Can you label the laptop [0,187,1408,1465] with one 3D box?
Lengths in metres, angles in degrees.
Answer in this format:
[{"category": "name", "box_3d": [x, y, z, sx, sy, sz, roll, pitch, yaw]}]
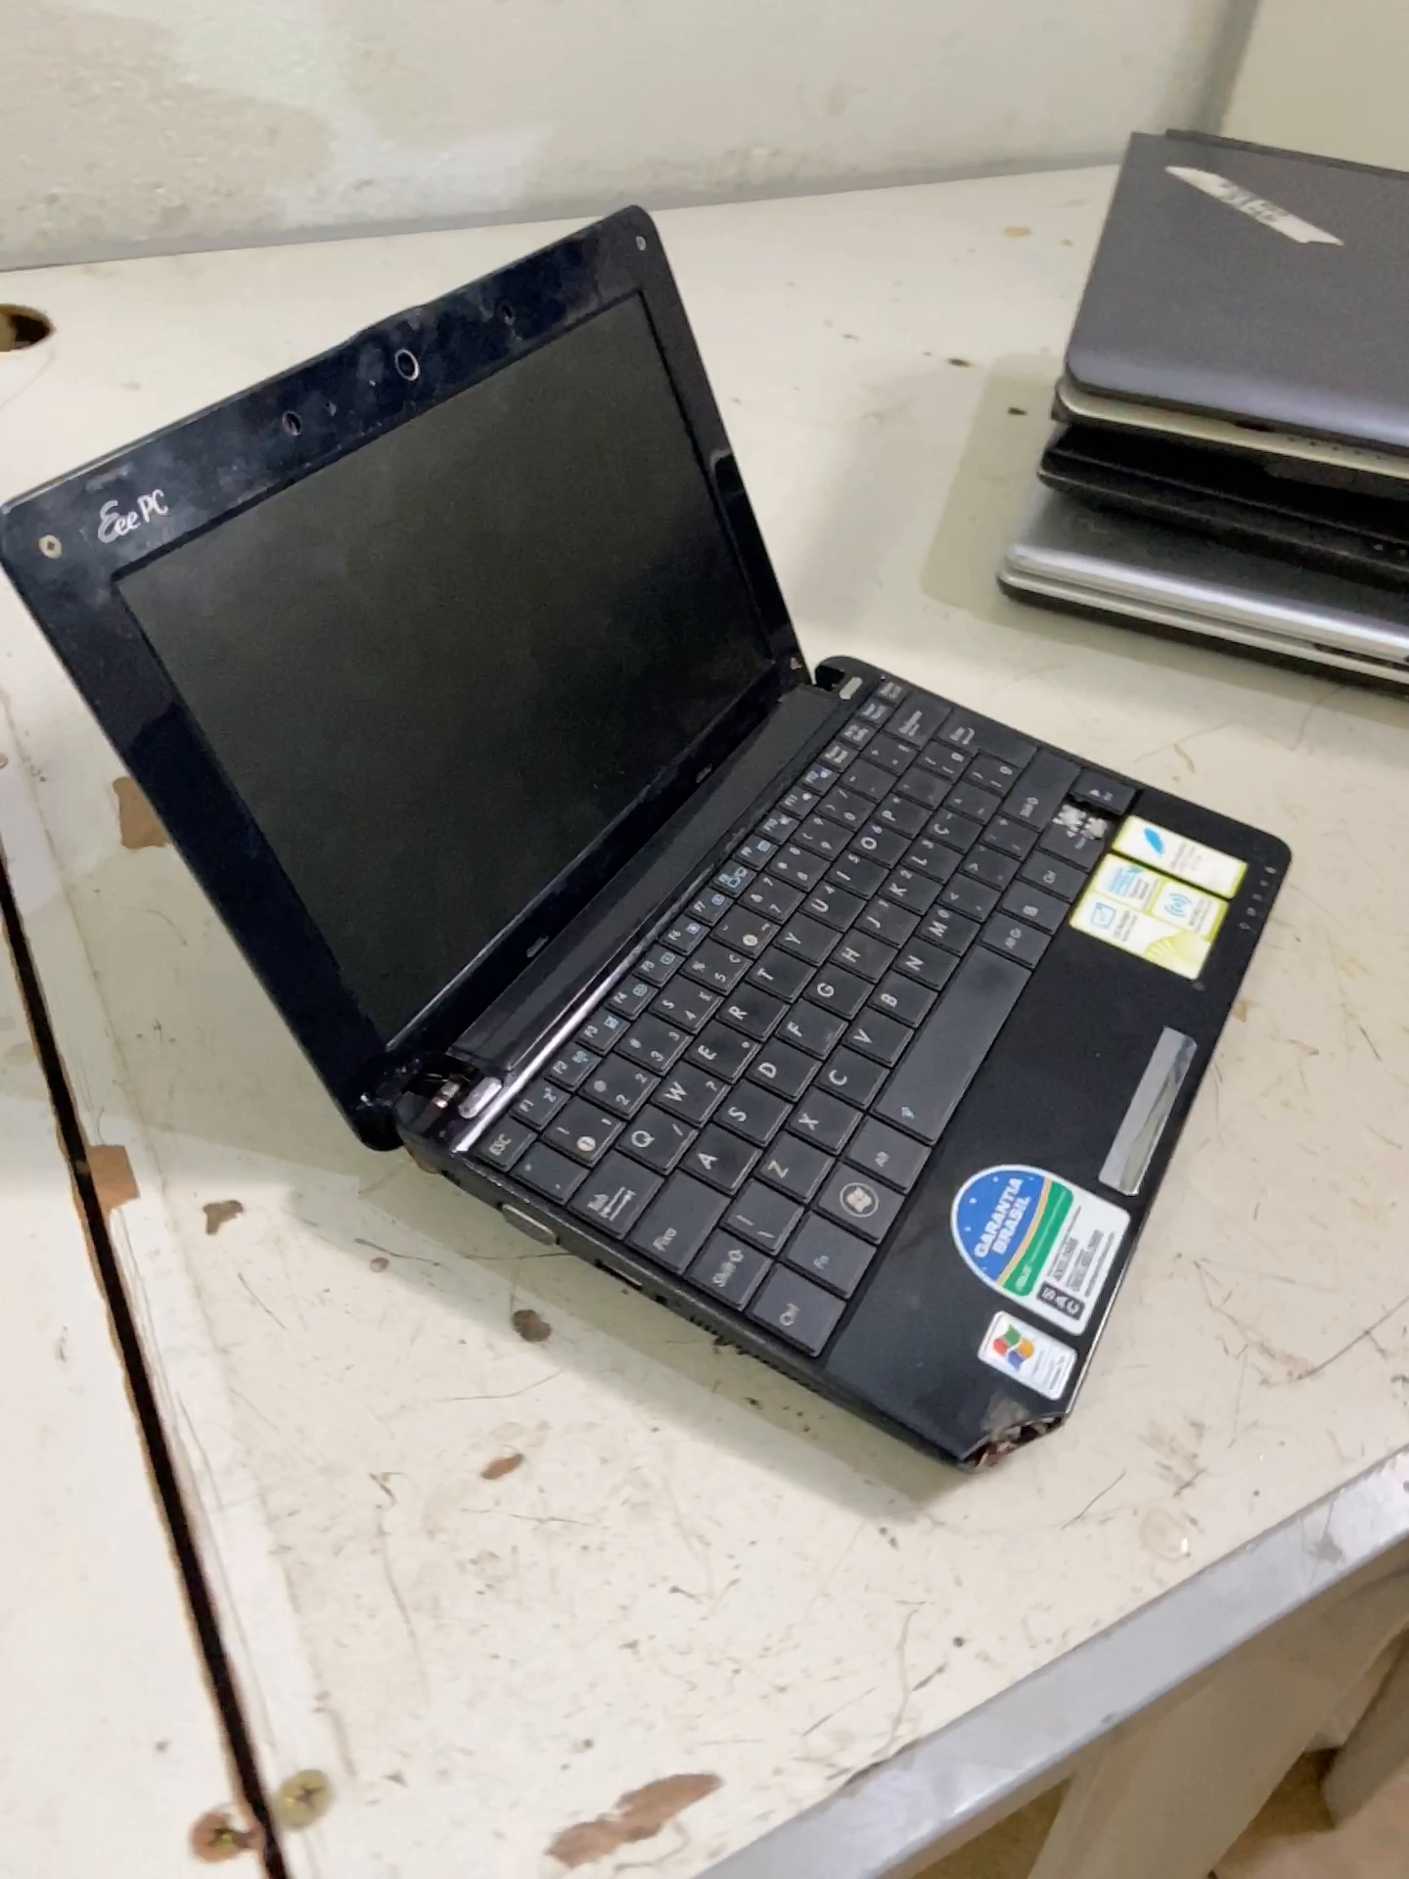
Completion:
[{"category": "laptop", "box_3d": [0.019, -0.063, 0.391, 0.265, 0.131, 0.260, 27, 48, 16]}]
